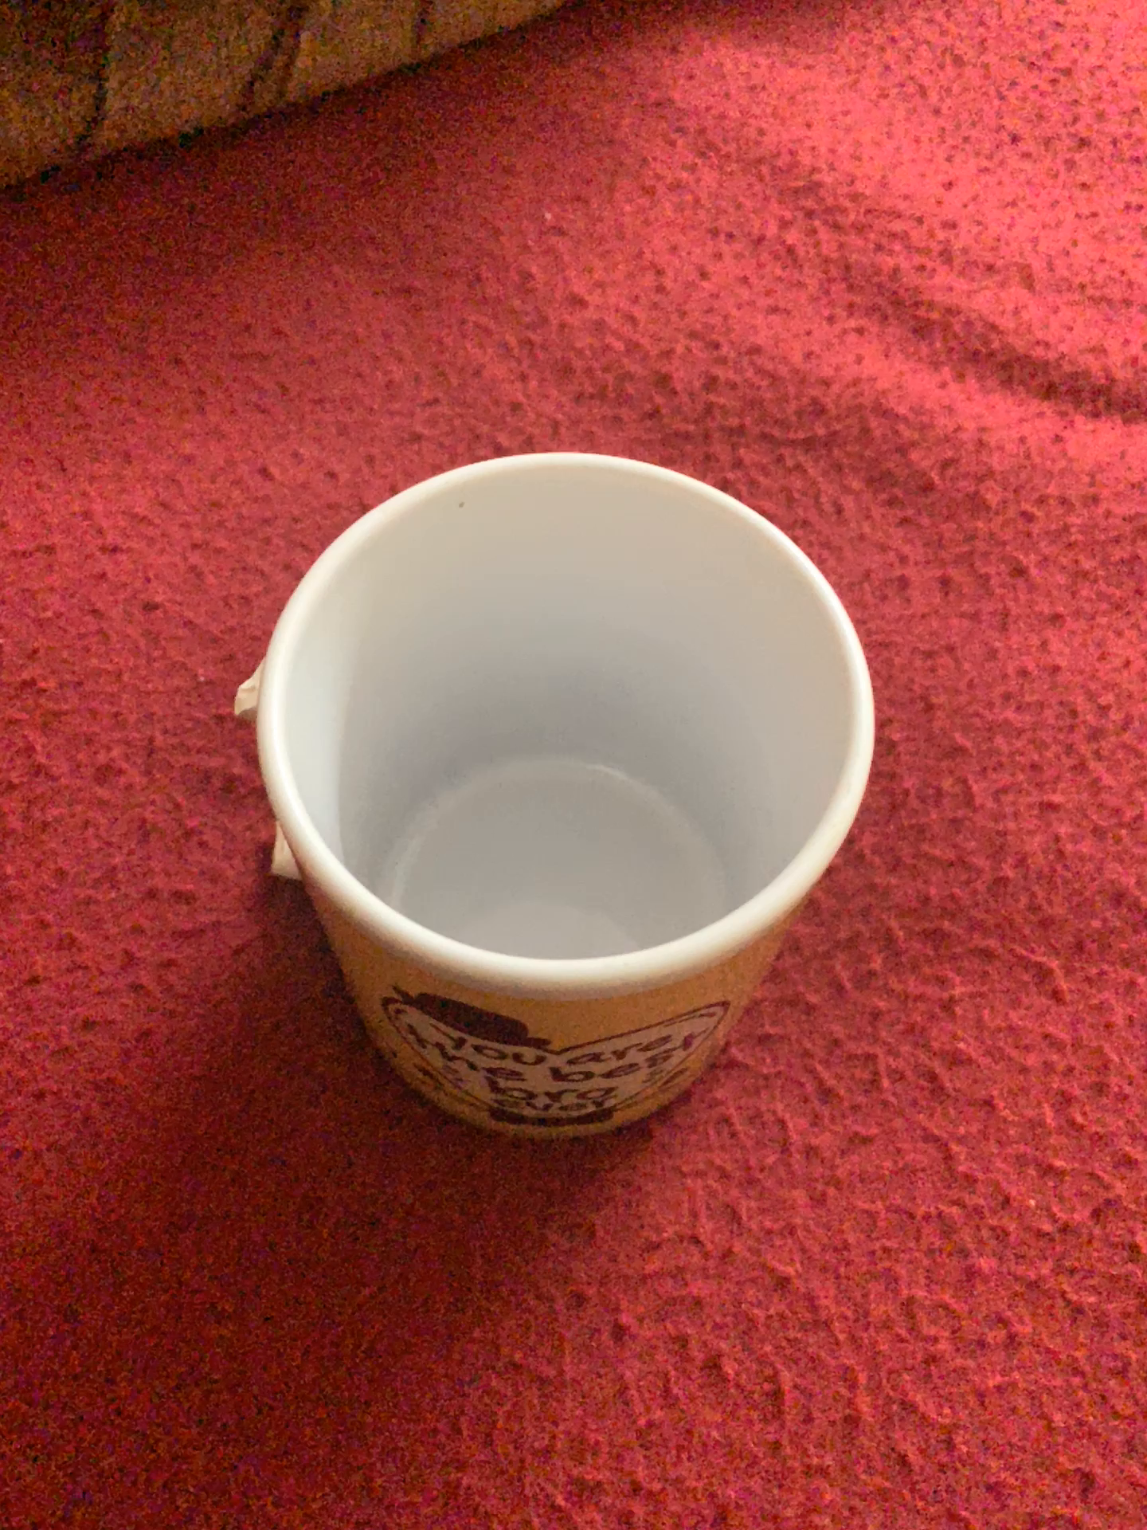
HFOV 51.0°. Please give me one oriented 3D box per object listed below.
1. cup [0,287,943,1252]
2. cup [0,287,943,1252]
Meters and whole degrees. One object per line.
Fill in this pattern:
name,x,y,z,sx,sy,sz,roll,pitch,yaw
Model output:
cup,-0.023,0.011,0.193,0.110,0.110,0.080,25,67,9
cup,-0.023,0.011,0.193,0.110,0.110,0.080,25,67,9
